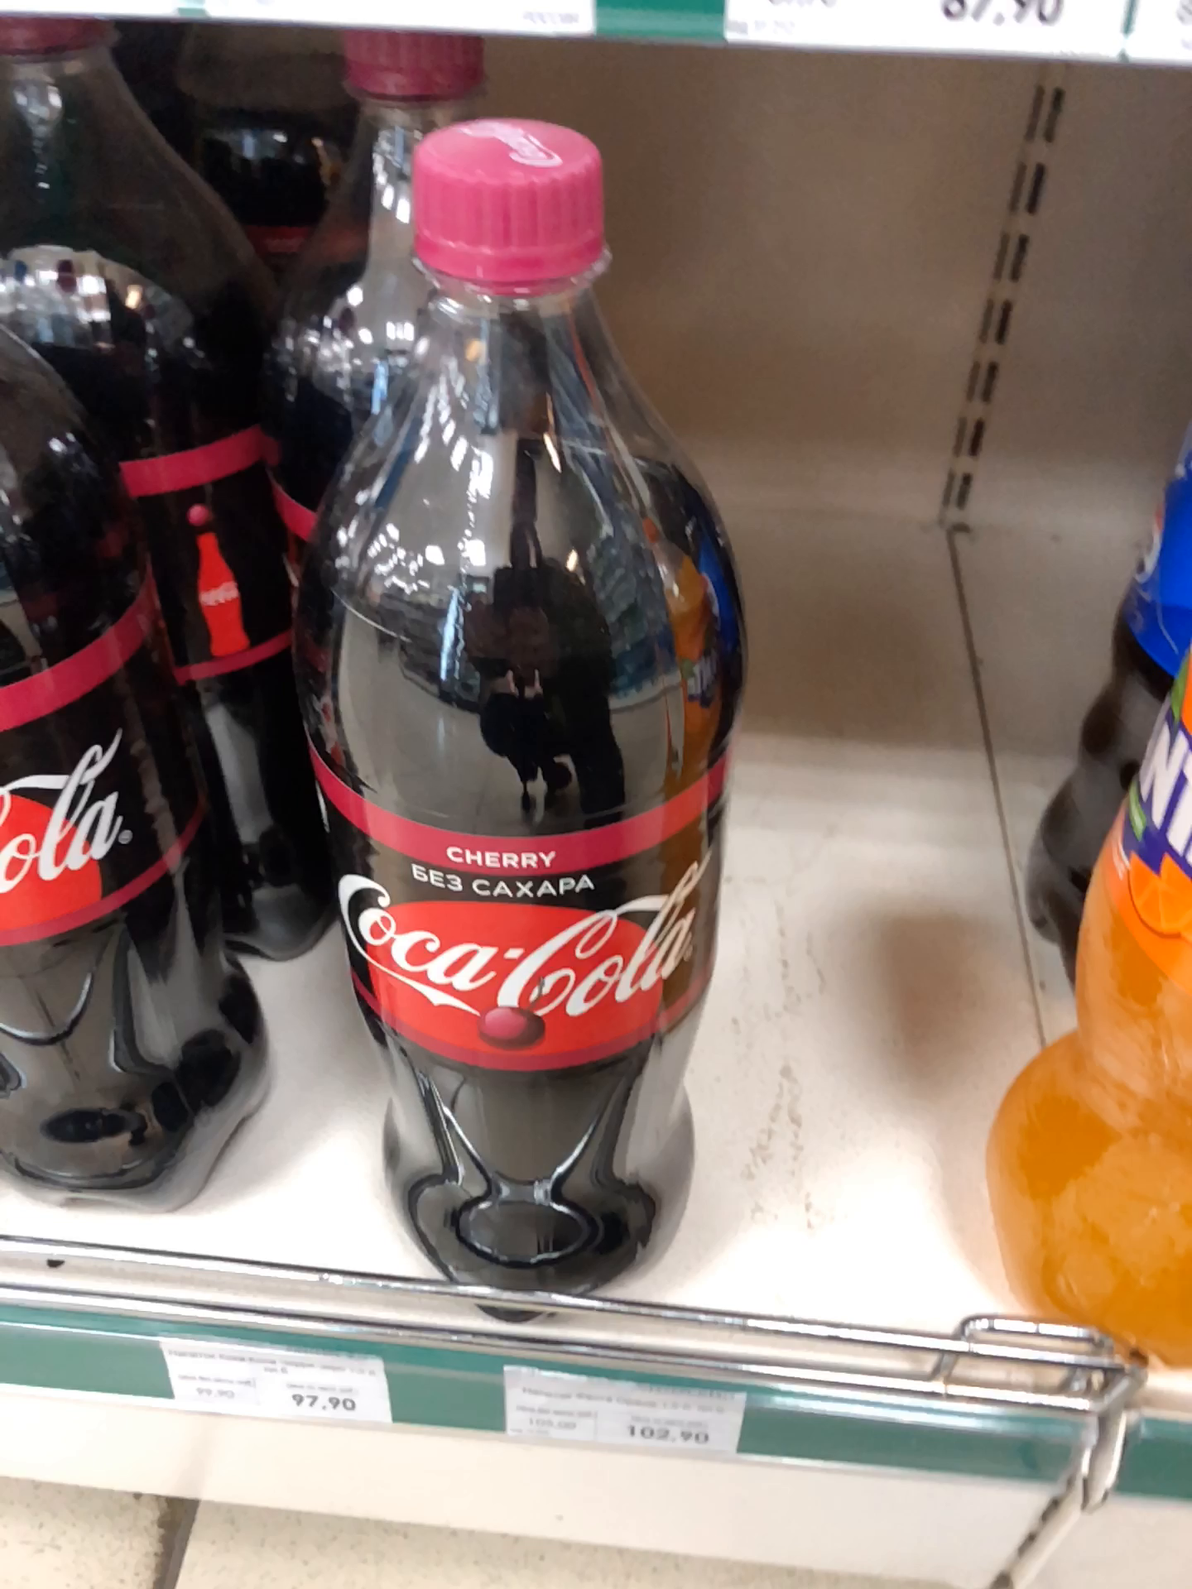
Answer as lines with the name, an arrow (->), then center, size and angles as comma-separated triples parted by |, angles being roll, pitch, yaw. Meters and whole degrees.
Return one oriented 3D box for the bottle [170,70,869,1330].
bottle -> -0.012, 0.010, 0.305 | 0.092, 0.295, 0.088 | 1, 43, -1
